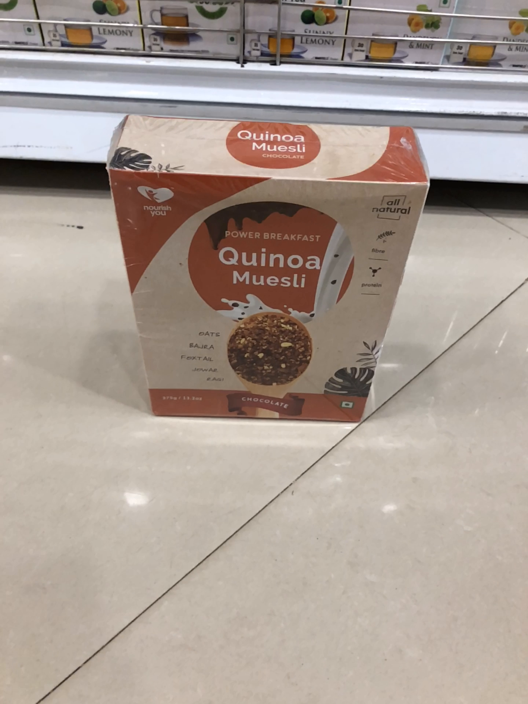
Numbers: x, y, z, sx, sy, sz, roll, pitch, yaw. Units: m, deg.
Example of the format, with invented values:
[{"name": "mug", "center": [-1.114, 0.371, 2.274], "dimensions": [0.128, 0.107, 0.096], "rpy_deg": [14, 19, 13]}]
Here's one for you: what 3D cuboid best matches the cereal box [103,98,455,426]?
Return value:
[{"name": "cereal box", "center": [0.003, -0.036, 0.366], "dimensions": [0.160, 0.219, 0.050], "rpy_deg": [2, 51, -2]}]
